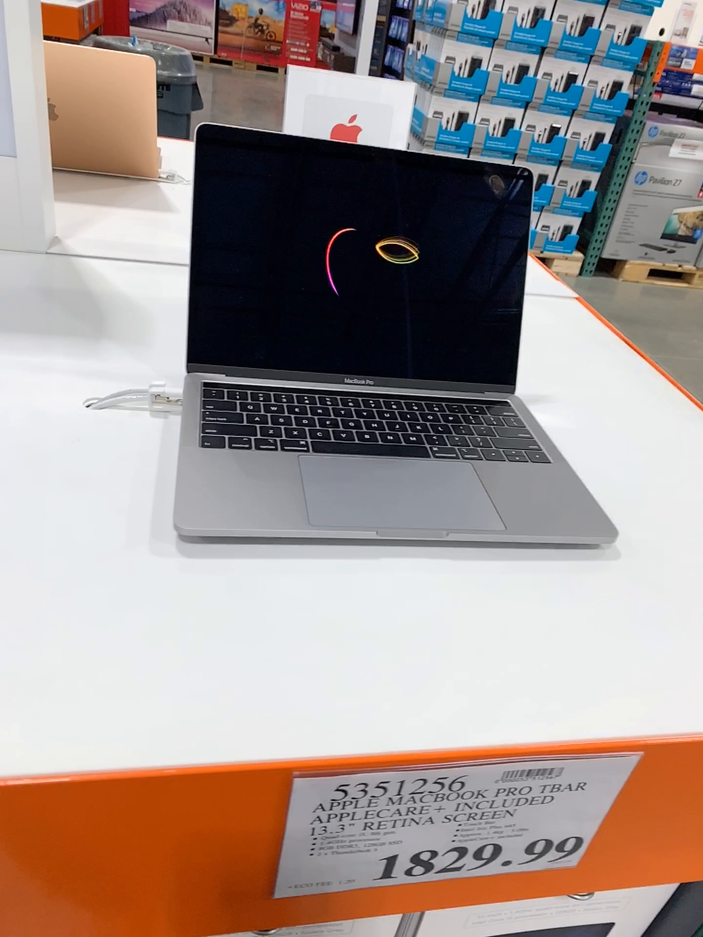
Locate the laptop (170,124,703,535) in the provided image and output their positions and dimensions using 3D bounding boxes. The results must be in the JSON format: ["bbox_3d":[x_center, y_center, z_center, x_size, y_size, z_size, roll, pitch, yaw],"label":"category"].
[{"bbox_3d":[0.027,-0.117,0.528,0.289,0.165,0.308,2,34,-12],"label":"laptop"}]
